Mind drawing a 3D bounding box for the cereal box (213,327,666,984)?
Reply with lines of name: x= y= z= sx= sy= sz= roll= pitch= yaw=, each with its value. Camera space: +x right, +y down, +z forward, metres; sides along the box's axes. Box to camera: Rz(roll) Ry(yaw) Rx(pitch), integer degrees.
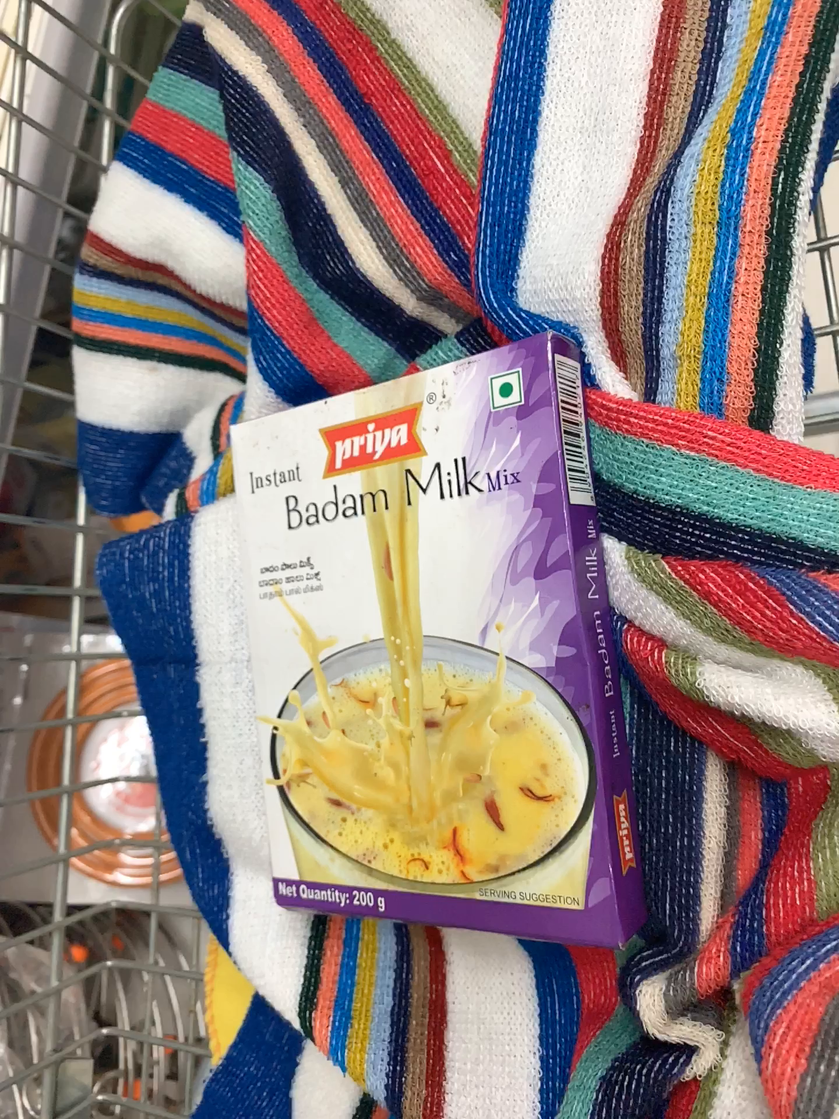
cereal box: x=-0.001 y=0.028 z=0.256 sx=0.121 sy=0.030 sz=0.160 roll=-8 pitch=84 yaw=31
